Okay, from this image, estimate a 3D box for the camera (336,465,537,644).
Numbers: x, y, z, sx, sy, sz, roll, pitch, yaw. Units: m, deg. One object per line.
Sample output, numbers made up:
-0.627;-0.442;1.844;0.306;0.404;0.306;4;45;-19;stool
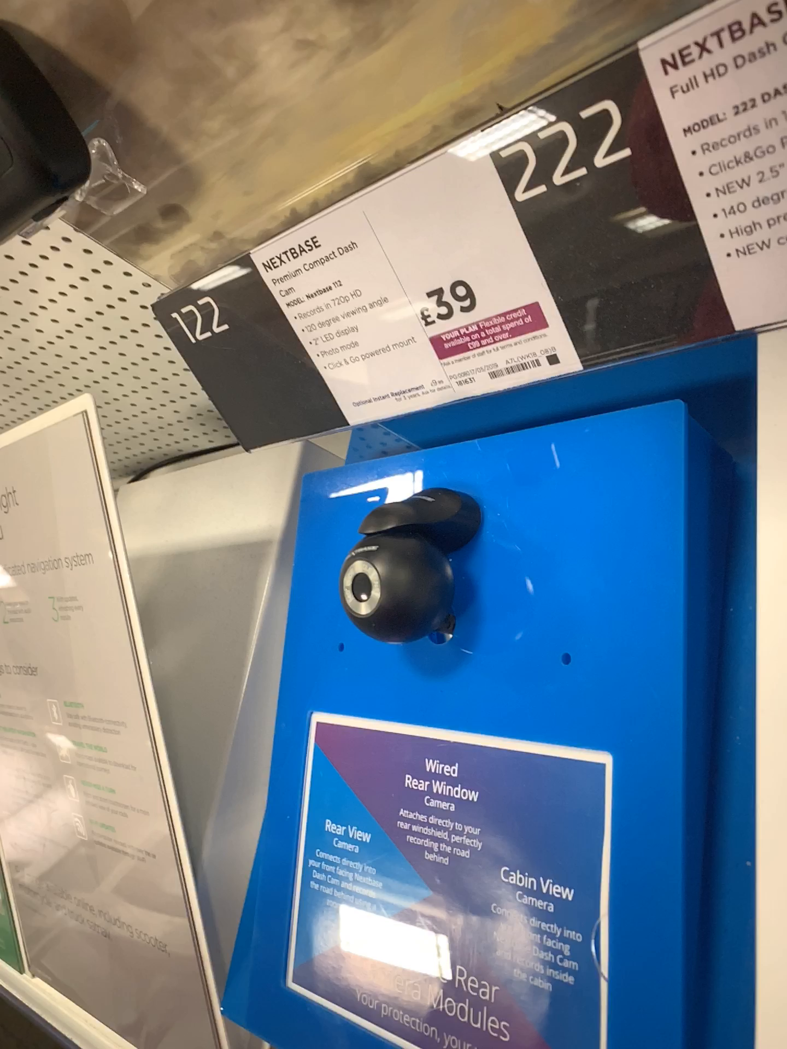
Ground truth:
0.014;0.012;0.258;0.040;0.050;0.050;-7;80;45;camera
